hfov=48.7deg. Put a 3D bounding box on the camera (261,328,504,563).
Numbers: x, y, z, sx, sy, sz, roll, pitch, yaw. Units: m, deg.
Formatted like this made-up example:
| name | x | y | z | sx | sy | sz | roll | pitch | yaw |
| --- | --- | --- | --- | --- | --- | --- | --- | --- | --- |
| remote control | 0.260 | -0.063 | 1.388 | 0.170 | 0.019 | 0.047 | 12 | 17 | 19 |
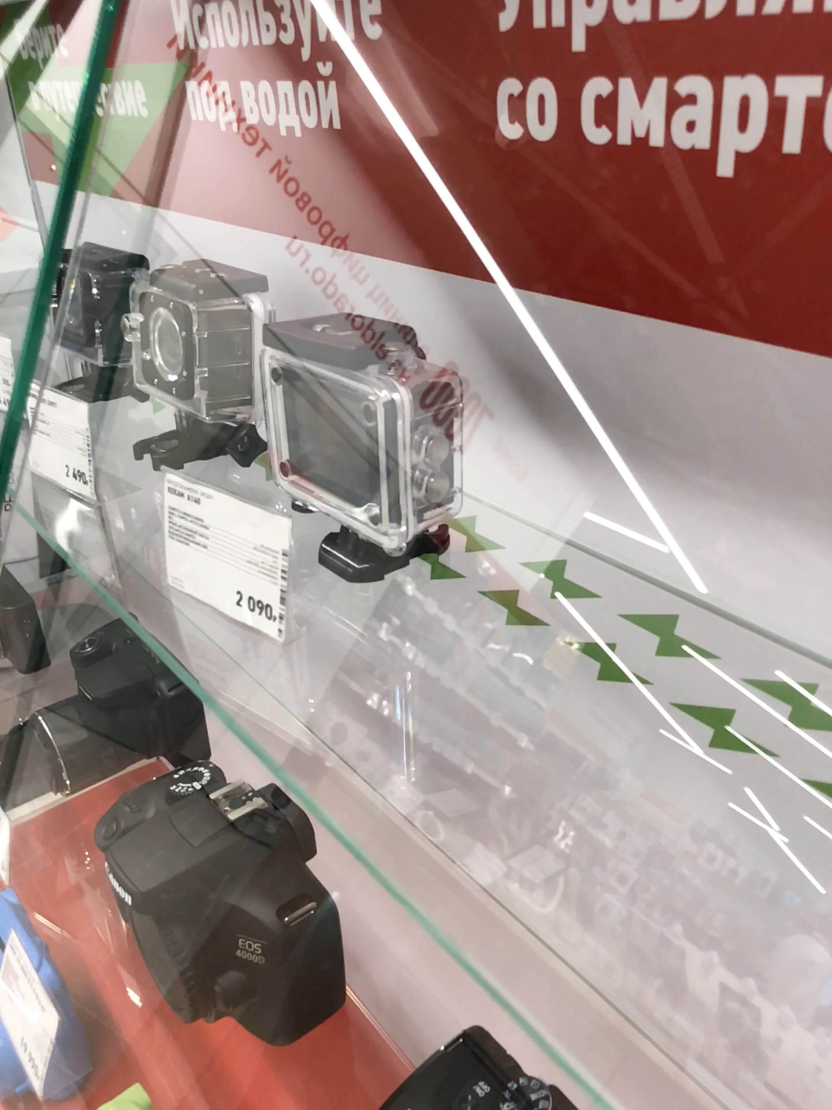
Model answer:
| name | x | y | z | sx | sy | sz | roll | pitch | yaw |
| --- | --- | --- | --- | --- | --- | --- | --- | --- | --- |
| camera | -0.012 | -0.040 | 0.304 | 0.040 | 0.053 | 0.075 | -21 | 31 | -34 |
